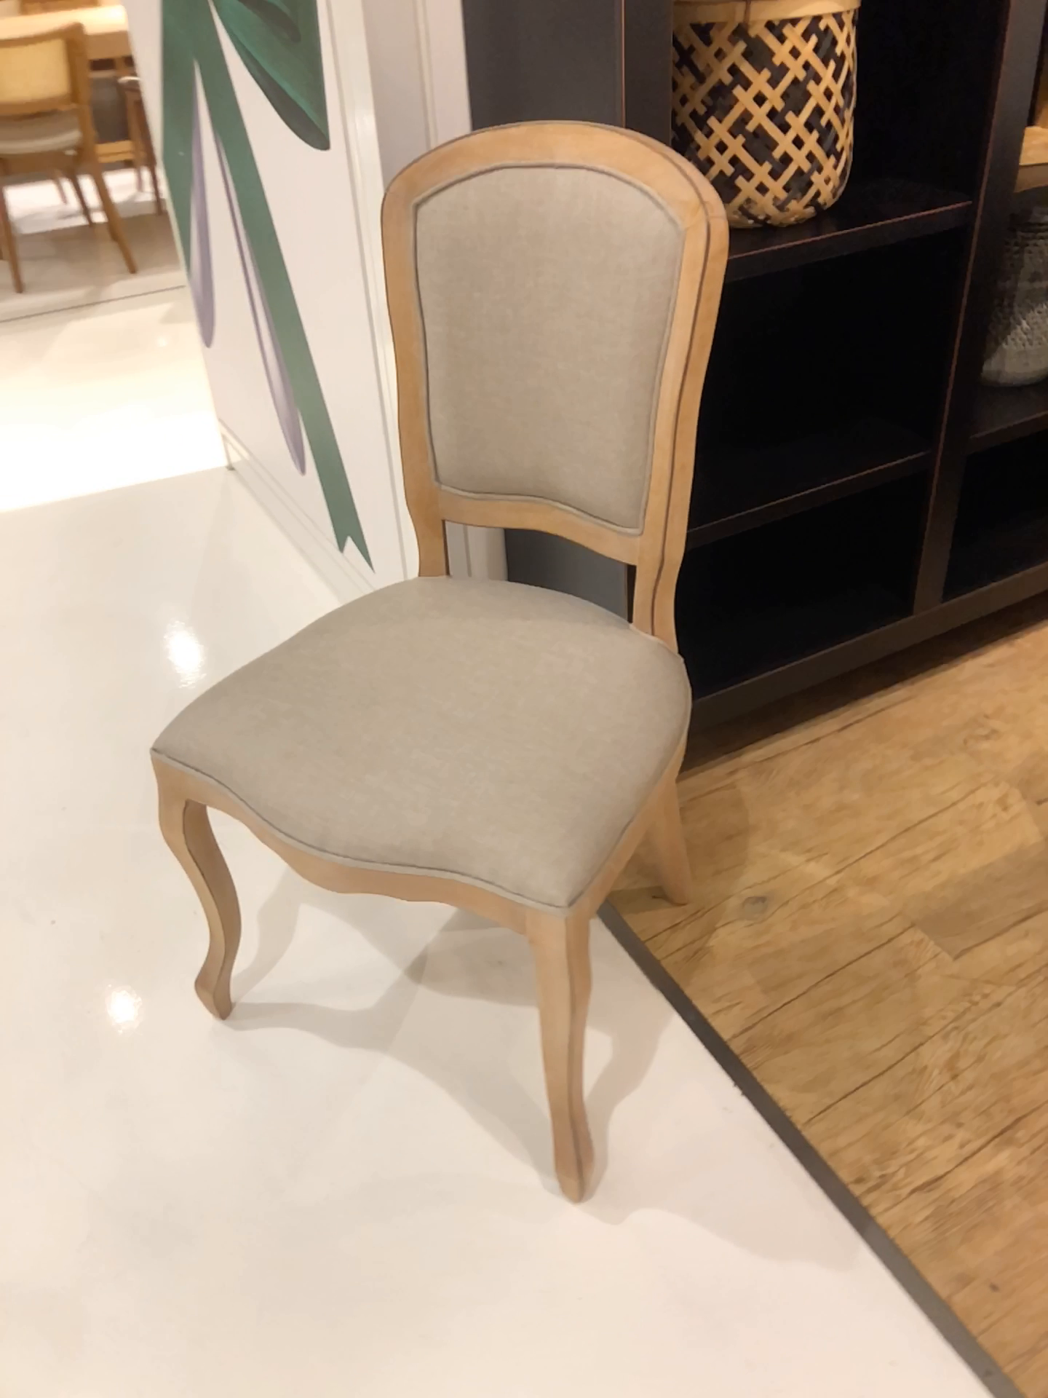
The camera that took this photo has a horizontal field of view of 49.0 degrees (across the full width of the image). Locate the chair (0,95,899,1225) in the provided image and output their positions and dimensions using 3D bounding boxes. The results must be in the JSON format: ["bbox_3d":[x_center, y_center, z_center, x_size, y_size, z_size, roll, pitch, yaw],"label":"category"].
[{"bbox_3d":[-0.055,-0.072,1.174,0.601,0.873,0.553,17,41,26],"label":"chair"}]
